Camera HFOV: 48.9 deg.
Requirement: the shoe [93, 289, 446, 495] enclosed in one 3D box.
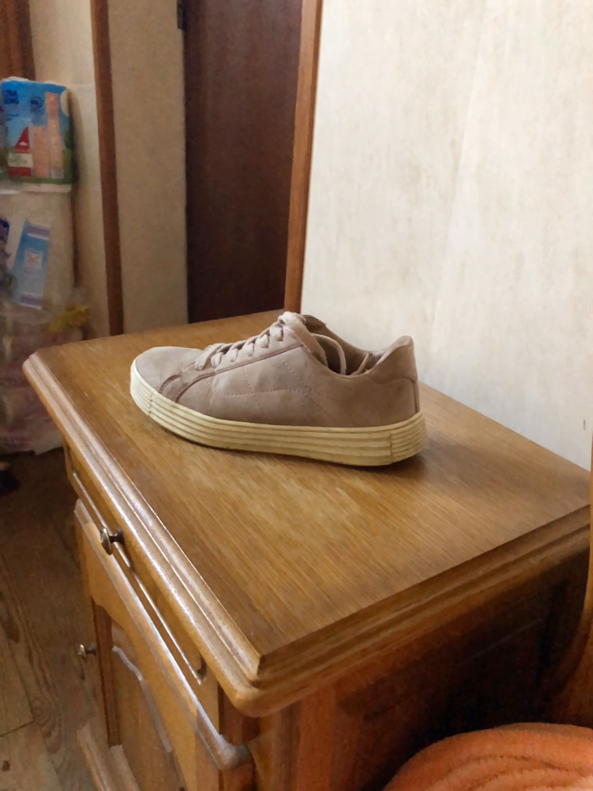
[{"bbox_3d":[-0.019,-0.012,0.539,0.260,0.089,0.111,10,26,13],"label":"shoe"}]
